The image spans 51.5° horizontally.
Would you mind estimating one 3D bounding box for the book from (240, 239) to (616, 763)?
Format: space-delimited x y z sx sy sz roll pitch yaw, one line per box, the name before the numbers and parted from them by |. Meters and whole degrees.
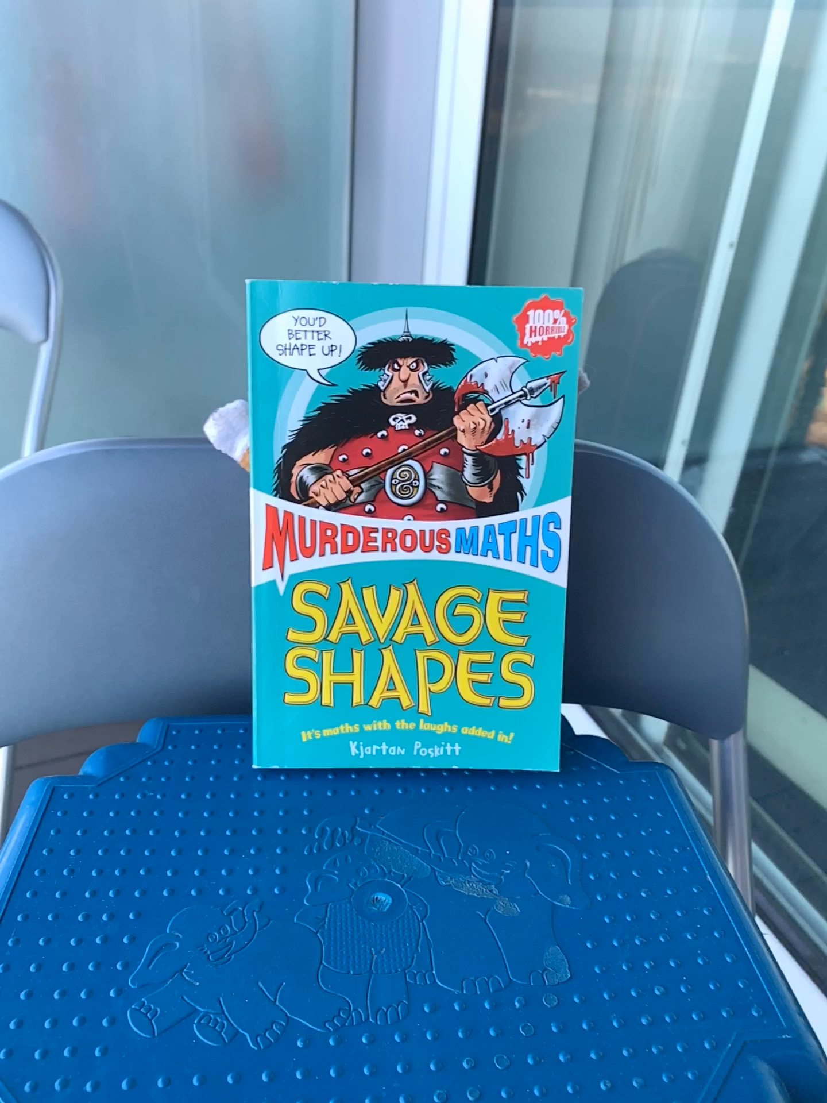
book | 0.002 -0.015 0.336 0.133 0.193 0.029 2 10 -5
